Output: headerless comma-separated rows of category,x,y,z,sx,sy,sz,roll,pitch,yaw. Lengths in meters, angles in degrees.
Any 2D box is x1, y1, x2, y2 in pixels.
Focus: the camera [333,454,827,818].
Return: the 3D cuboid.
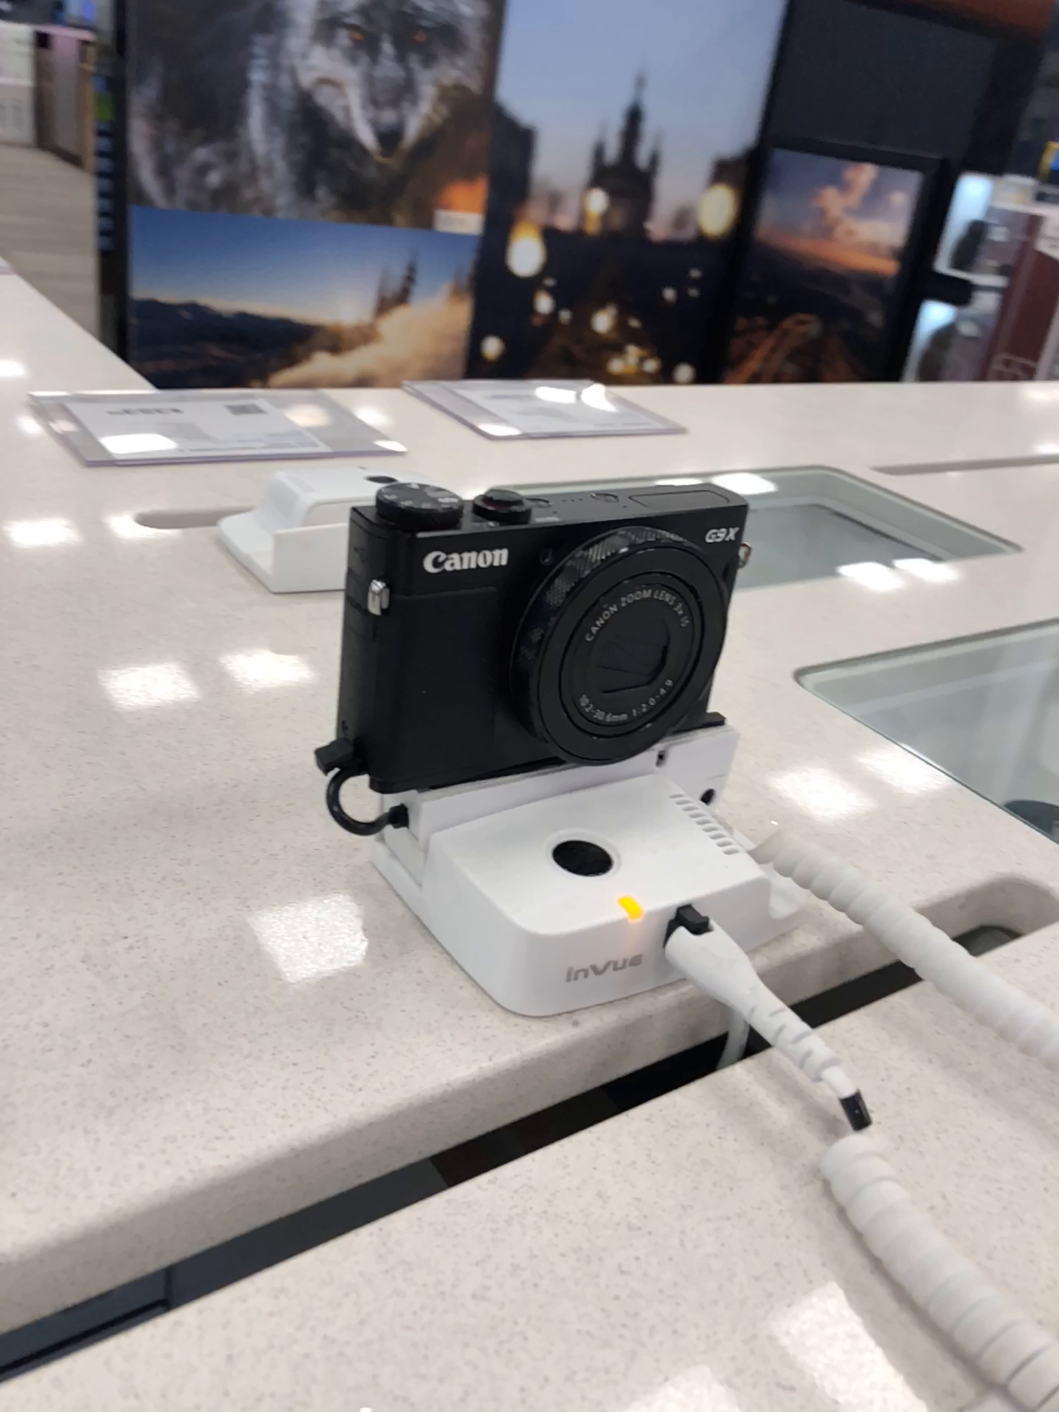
camera,0.012,-0.019,0.254,0.100,0.060,0.030,-10,32,-34
